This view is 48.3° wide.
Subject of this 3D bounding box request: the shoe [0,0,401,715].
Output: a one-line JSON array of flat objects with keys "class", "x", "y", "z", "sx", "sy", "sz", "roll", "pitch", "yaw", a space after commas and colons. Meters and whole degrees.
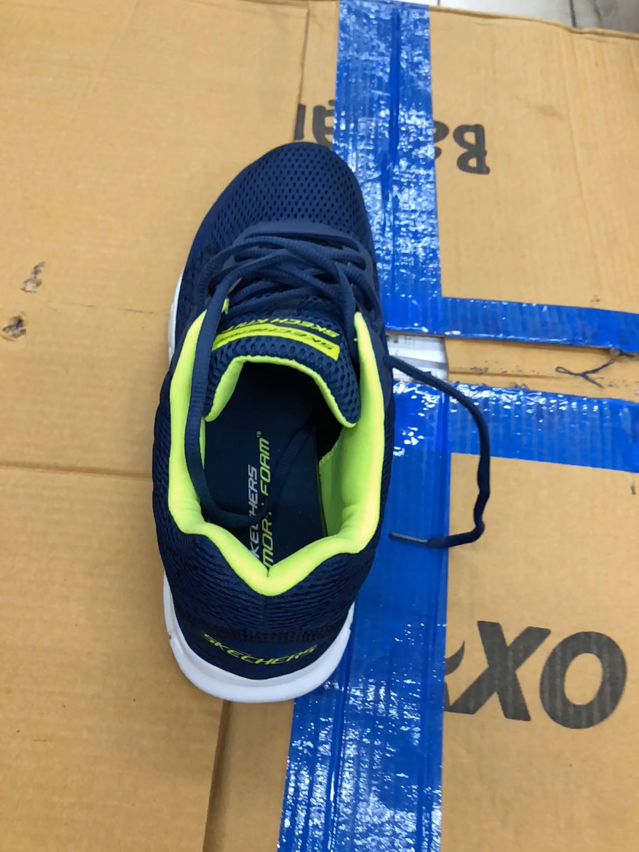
[{"class": "shoe", "x": -0.034, "y": -0.051, "z": 0.298, "sx": 0.106, "sy": 0.146, "sz": 0.307, "roll": 4, "pitch": 64, "yaw": -3}]
